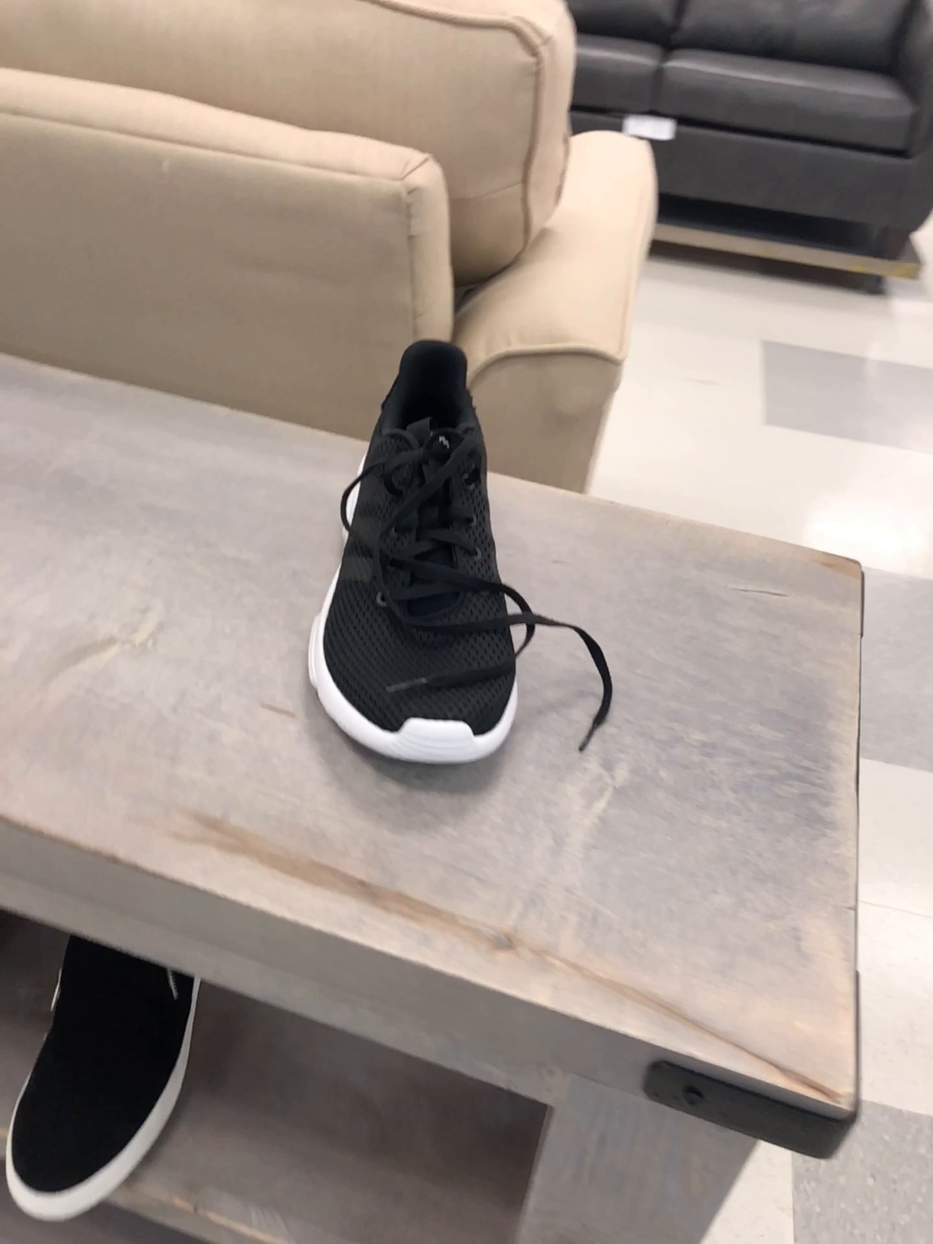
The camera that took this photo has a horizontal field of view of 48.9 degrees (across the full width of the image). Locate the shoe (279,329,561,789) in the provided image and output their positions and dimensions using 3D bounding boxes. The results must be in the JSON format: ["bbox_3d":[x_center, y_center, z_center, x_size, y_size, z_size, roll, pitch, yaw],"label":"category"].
[{"bbox_3d":[-0.024,-0.053,0.579,0.120,0.109,0.285,4,37,-3],"label":"shoe"}]
